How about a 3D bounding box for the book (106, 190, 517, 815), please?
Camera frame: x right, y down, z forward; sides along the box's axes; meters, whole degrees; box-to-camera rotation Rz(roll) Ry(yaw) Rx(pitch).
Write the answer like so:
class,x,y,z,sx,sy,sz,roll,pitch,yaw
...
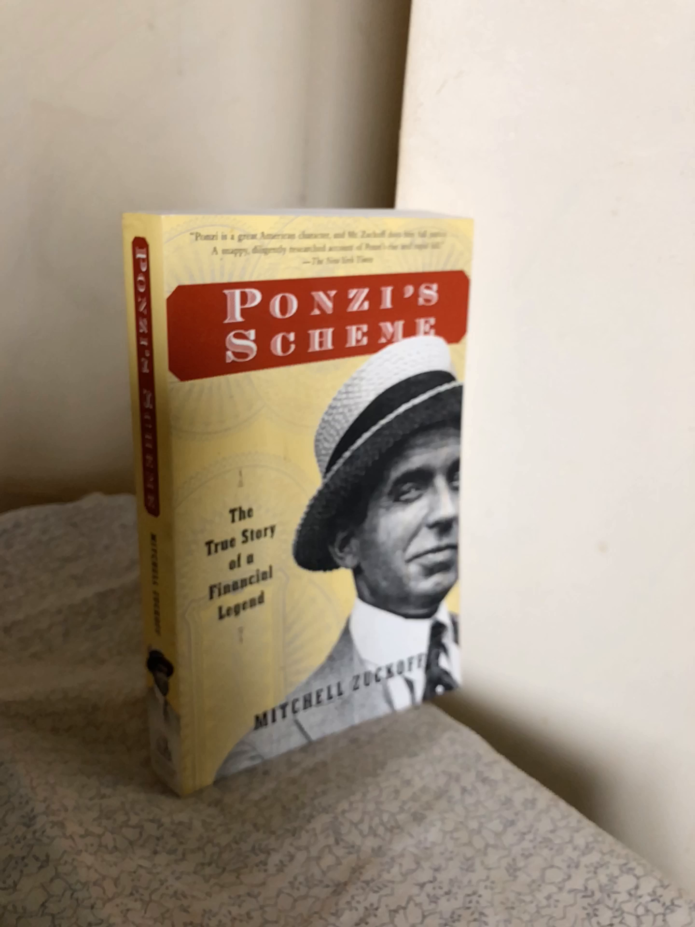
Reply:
class,x,y,z,sx,sy,sz,roll,pitch,yaw
book,-0.008,0.008,0.301,0.140,0.209,0.040,-13,24,-35
